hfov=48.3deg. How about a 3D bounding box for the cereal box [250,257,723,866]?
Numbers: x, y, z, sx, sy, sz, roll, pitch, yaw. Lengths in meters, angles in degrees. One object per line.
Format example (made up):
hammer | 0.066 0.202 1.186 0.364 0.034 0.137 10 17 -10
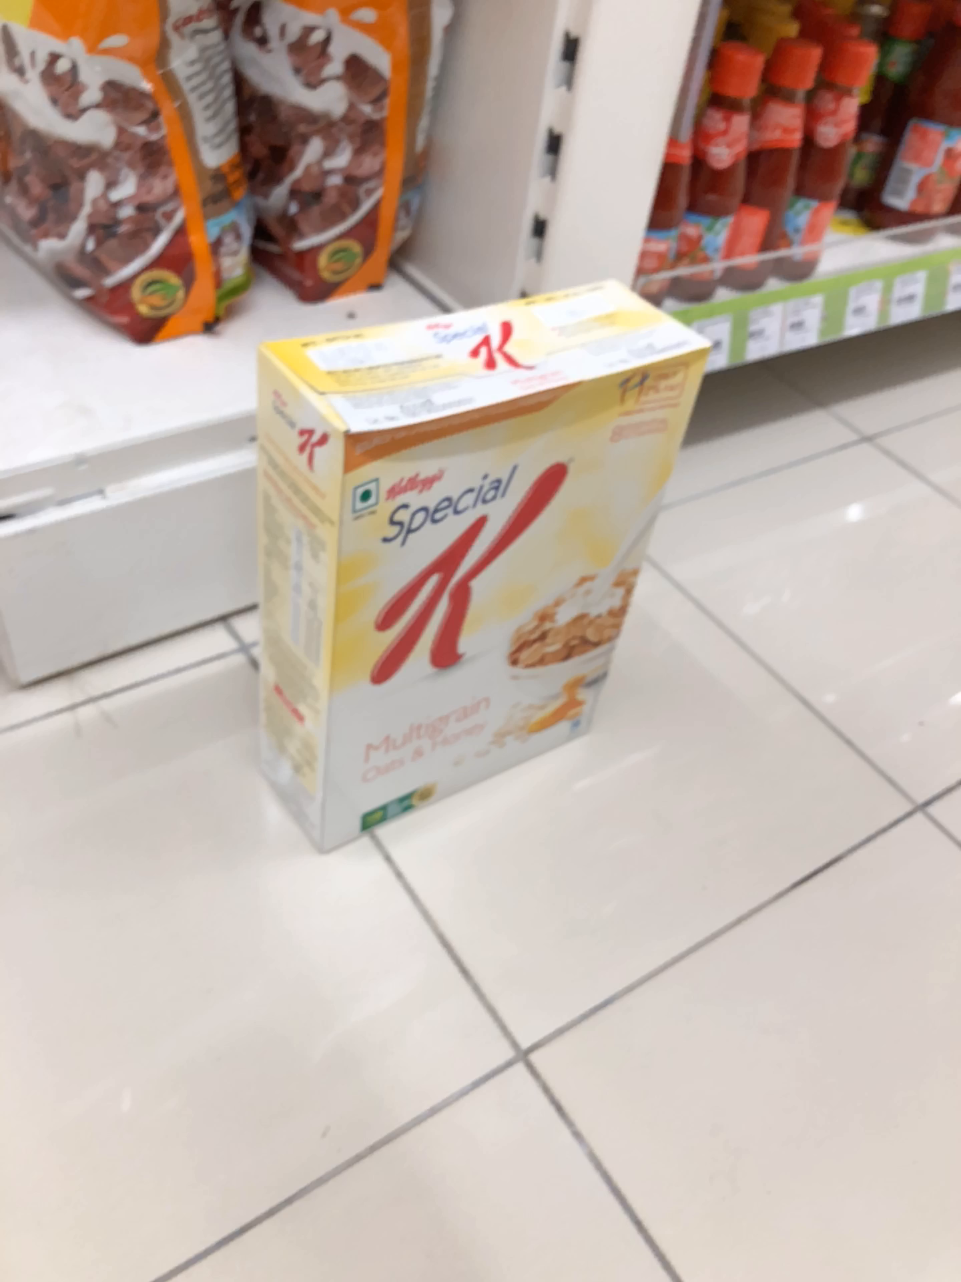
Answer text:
cereal box | -0.010 -0.033 0.530 0.191 0.268 0.070 -21 51 -31
